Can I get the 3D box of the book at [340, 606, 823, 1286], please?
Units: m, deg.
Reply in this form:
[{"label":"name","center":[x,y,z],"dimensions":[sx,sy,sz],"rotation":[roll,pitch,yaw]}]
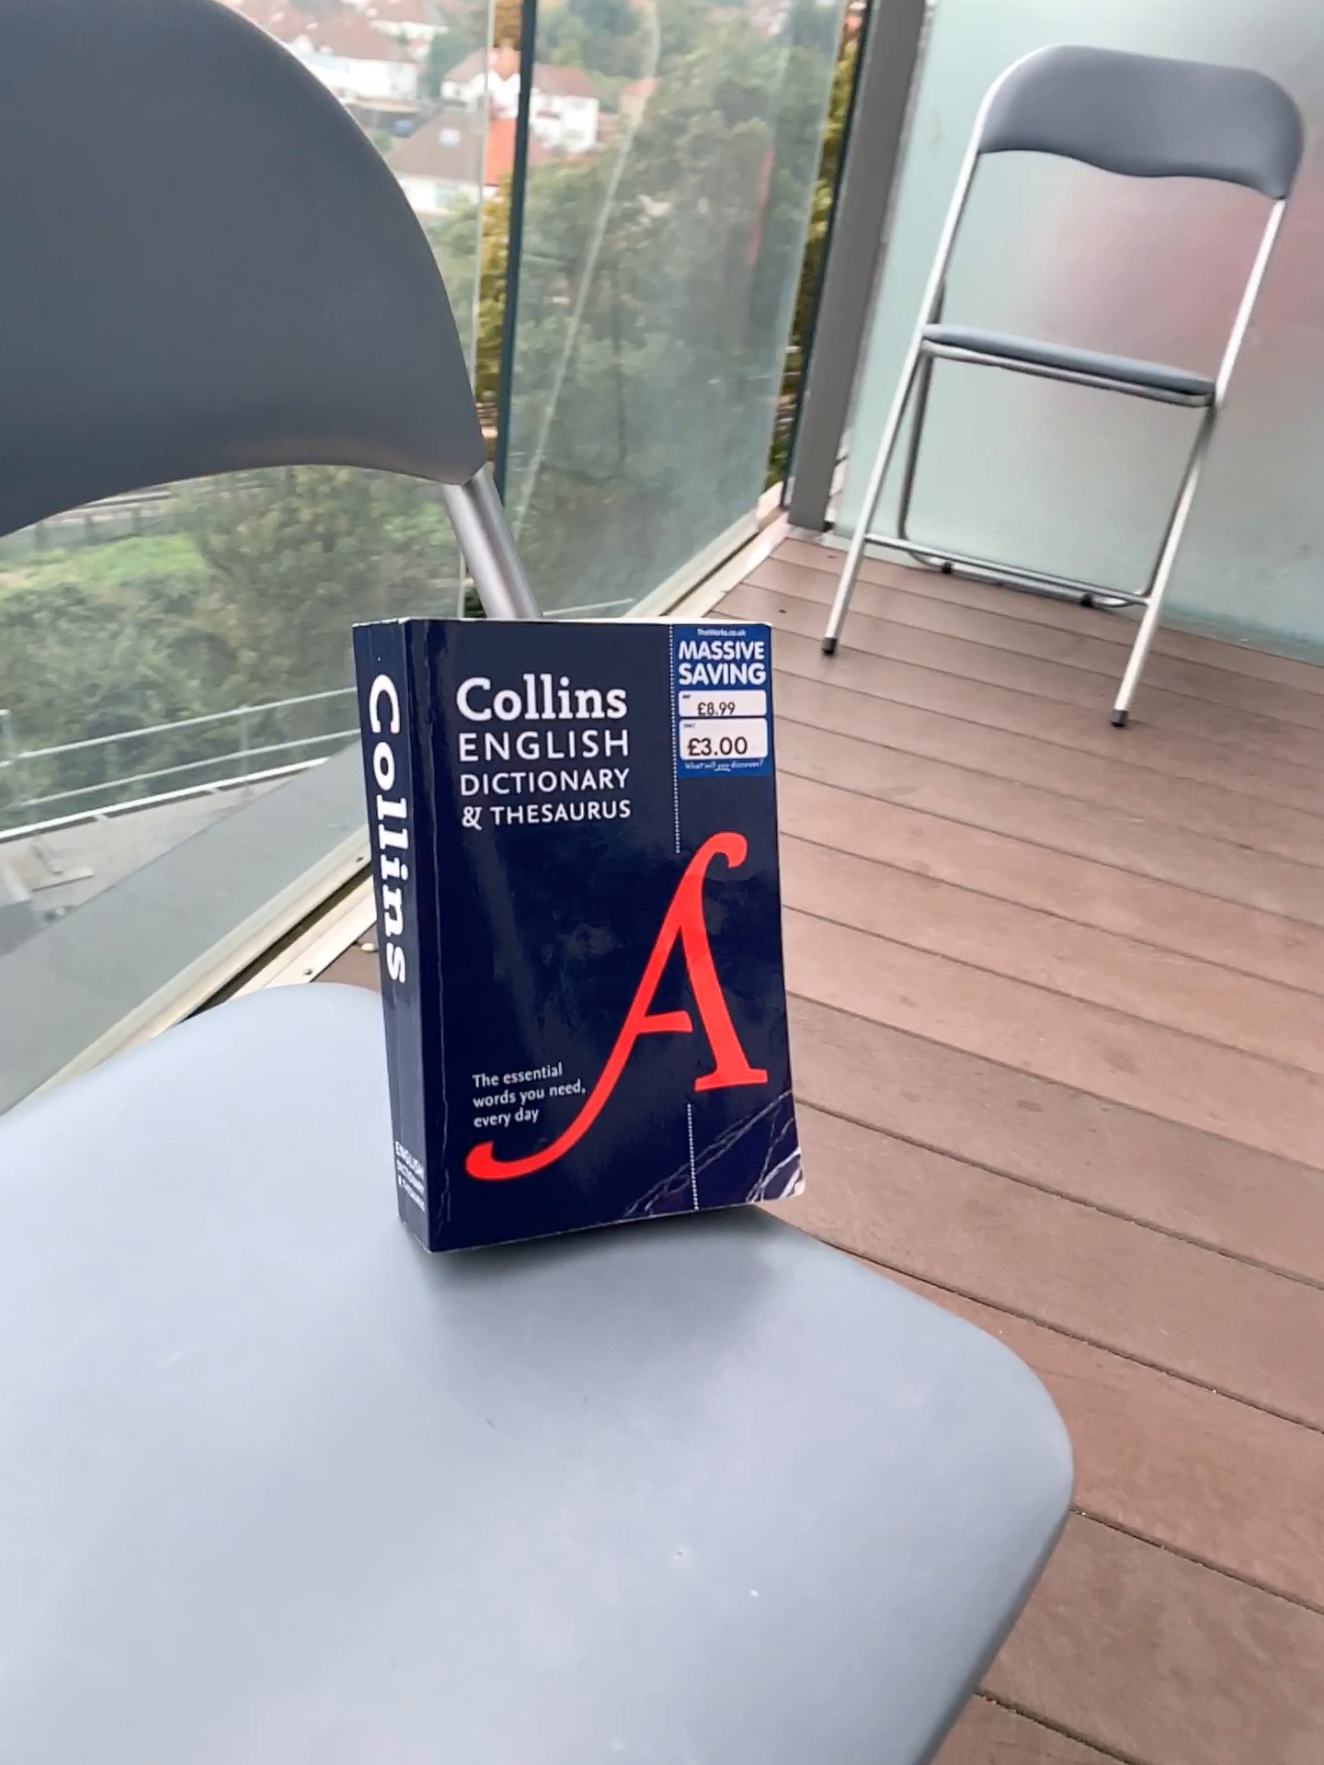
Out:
[{"label":"book","center":[-0.025,0.013,0.445],"dimensions":[0.140,0.199,0.060],"rotation":[-4,8,-19]}]
